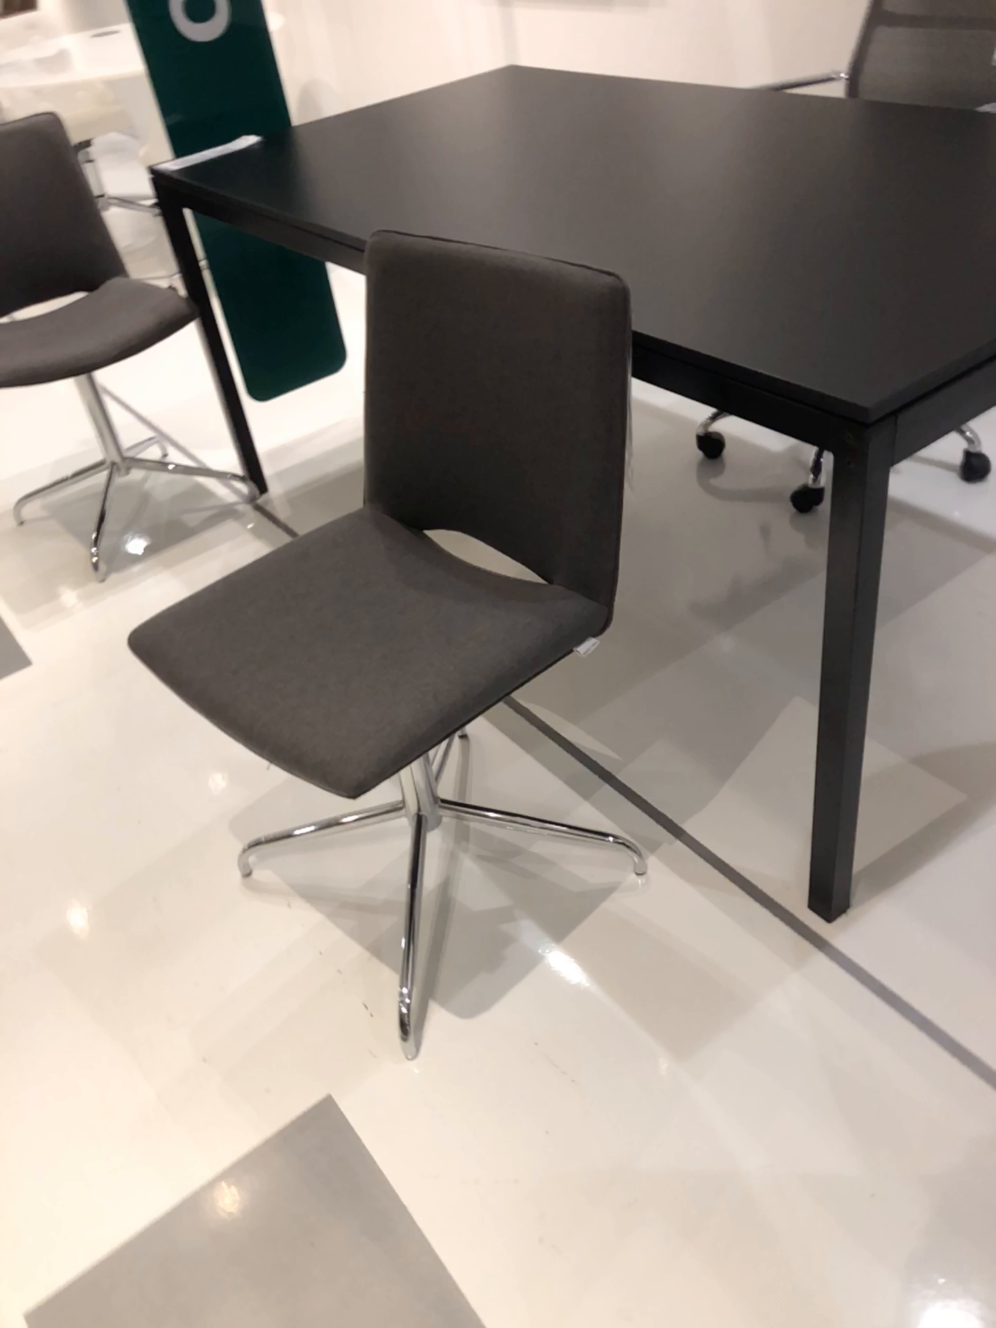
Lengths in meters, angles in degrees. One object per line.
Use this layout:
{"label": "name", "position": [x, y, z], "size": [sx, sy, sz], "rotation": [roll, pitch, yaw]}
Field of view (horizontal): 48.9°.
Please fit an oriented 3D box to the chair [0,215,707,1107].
{"label": "chair", "position": [-0.117, -0.021, 1.378], "size": [0.532, 0.843, 0.523], "rotation": [-35, 44, -30]}
